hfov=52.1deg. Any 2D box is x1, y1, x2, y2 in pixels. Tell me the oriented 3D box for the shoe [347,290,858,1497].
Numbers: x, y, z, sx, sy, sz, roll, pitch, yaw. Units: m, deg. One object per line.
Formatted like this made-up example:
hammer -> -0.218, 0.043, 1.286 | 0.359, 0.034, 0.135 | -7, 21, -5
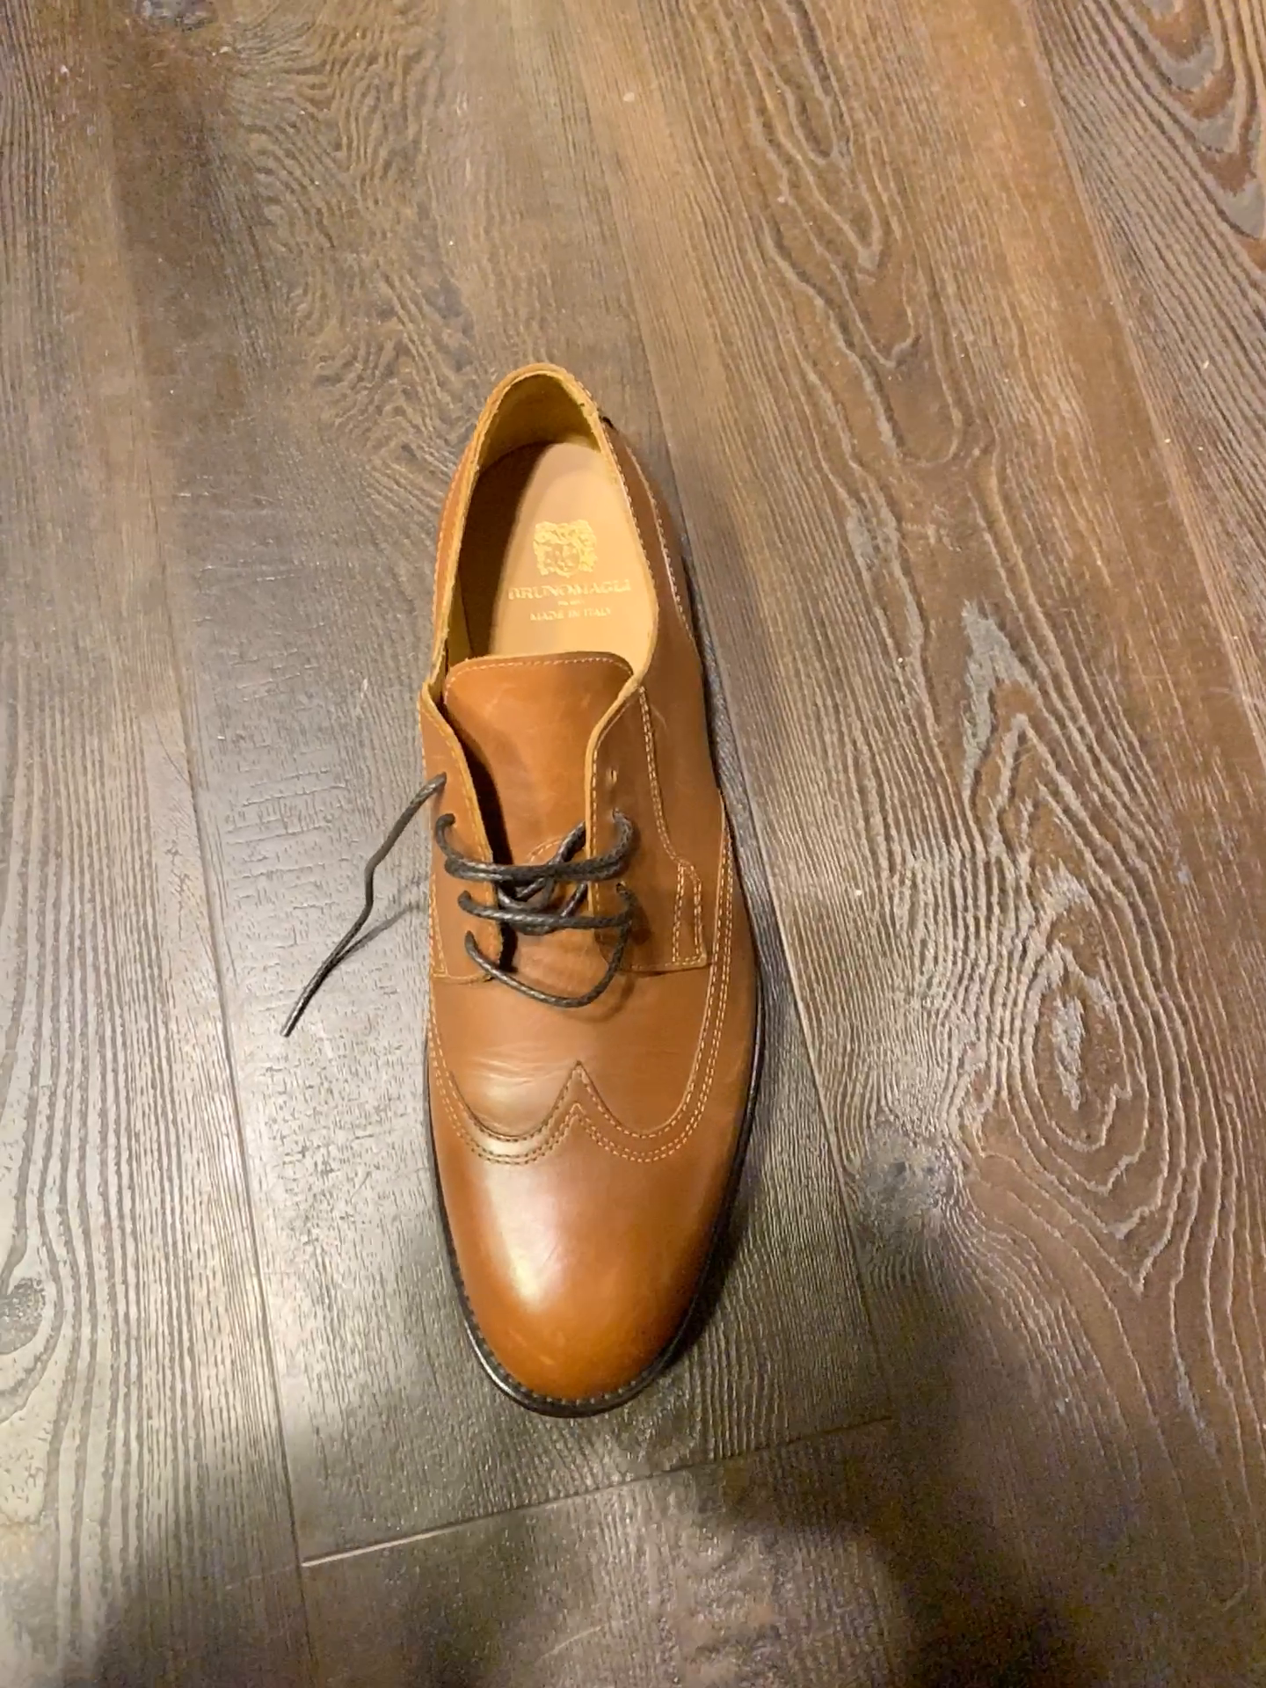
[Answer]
shoe -> -0.014, 0.007, 0.395 | 0.120, 0.110, 0.321 | -1, 76, -4
